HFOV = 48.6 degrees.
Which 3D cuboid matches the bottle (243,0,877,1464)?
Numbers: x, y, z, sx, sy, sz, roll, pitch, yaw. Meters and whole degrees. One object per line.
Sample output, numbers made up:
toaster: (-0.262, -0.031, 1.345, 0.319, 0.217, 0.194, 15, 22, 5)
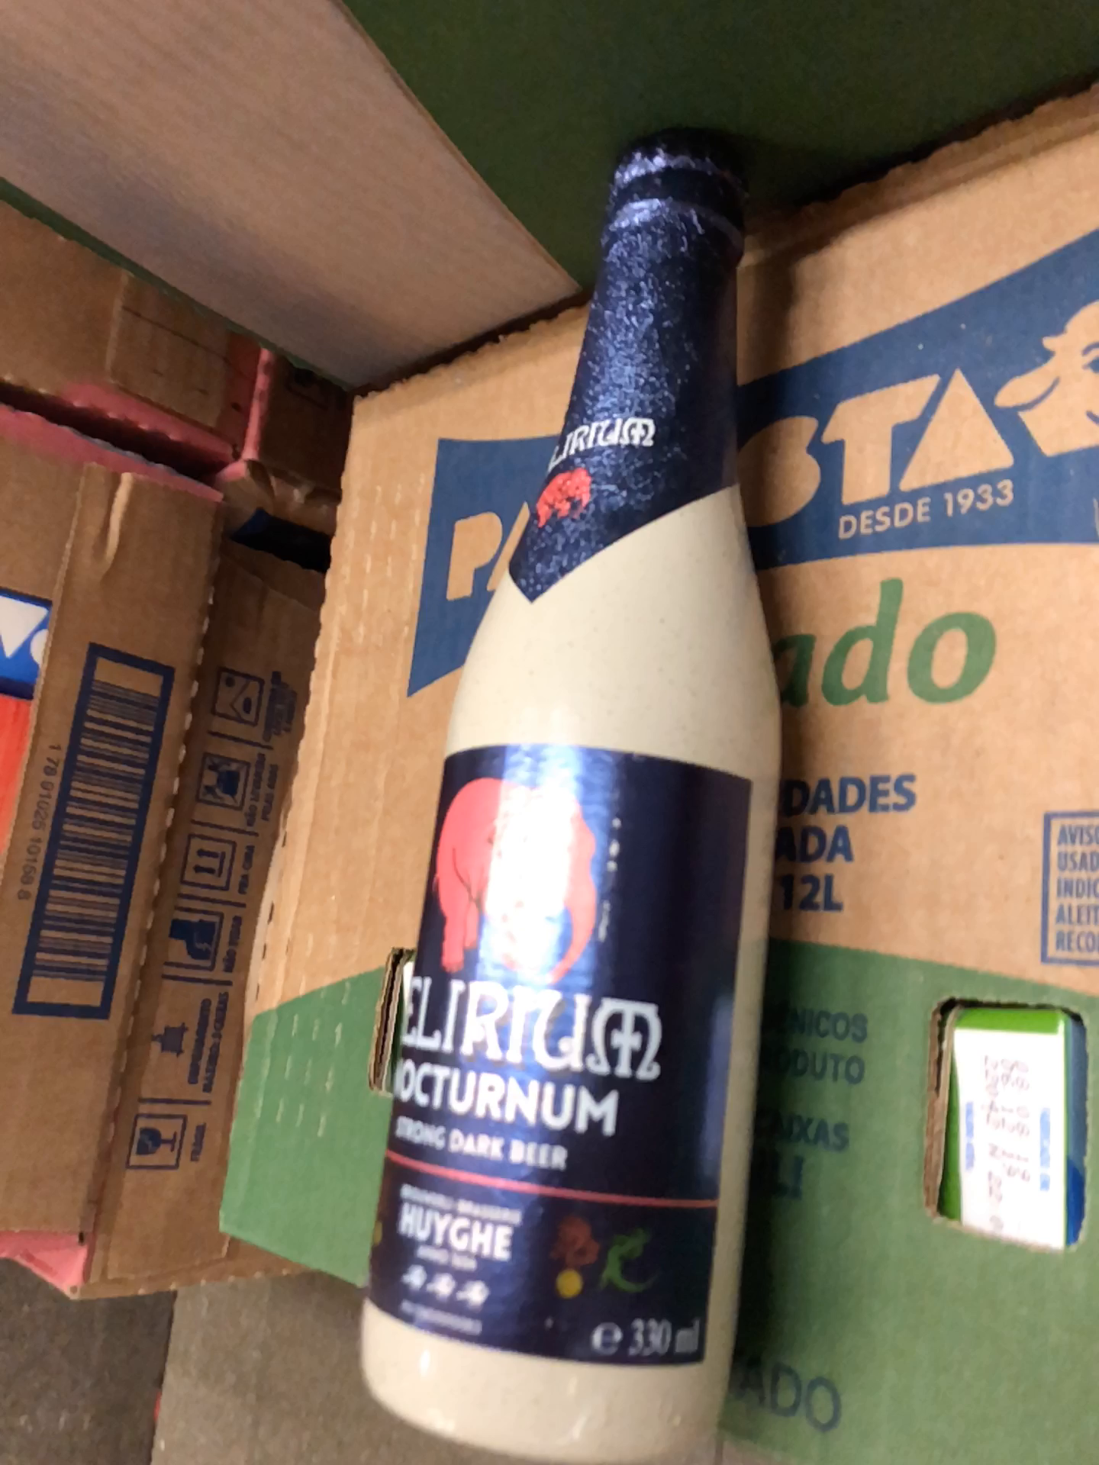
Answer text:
bottle: (0.009, -0.016, 0.212, 0.060, 0.050, 0.250, -6, 70, 44)
